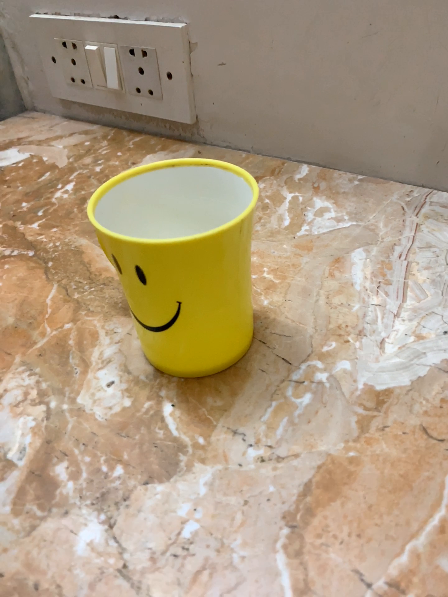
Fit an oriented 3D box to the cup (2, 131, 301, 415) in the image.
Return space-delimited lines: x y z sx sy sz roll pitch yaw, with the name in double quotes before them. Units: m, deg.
"cup" -0.029 -0.018 0.228 0.110 0.089 0.070 20 46 28
